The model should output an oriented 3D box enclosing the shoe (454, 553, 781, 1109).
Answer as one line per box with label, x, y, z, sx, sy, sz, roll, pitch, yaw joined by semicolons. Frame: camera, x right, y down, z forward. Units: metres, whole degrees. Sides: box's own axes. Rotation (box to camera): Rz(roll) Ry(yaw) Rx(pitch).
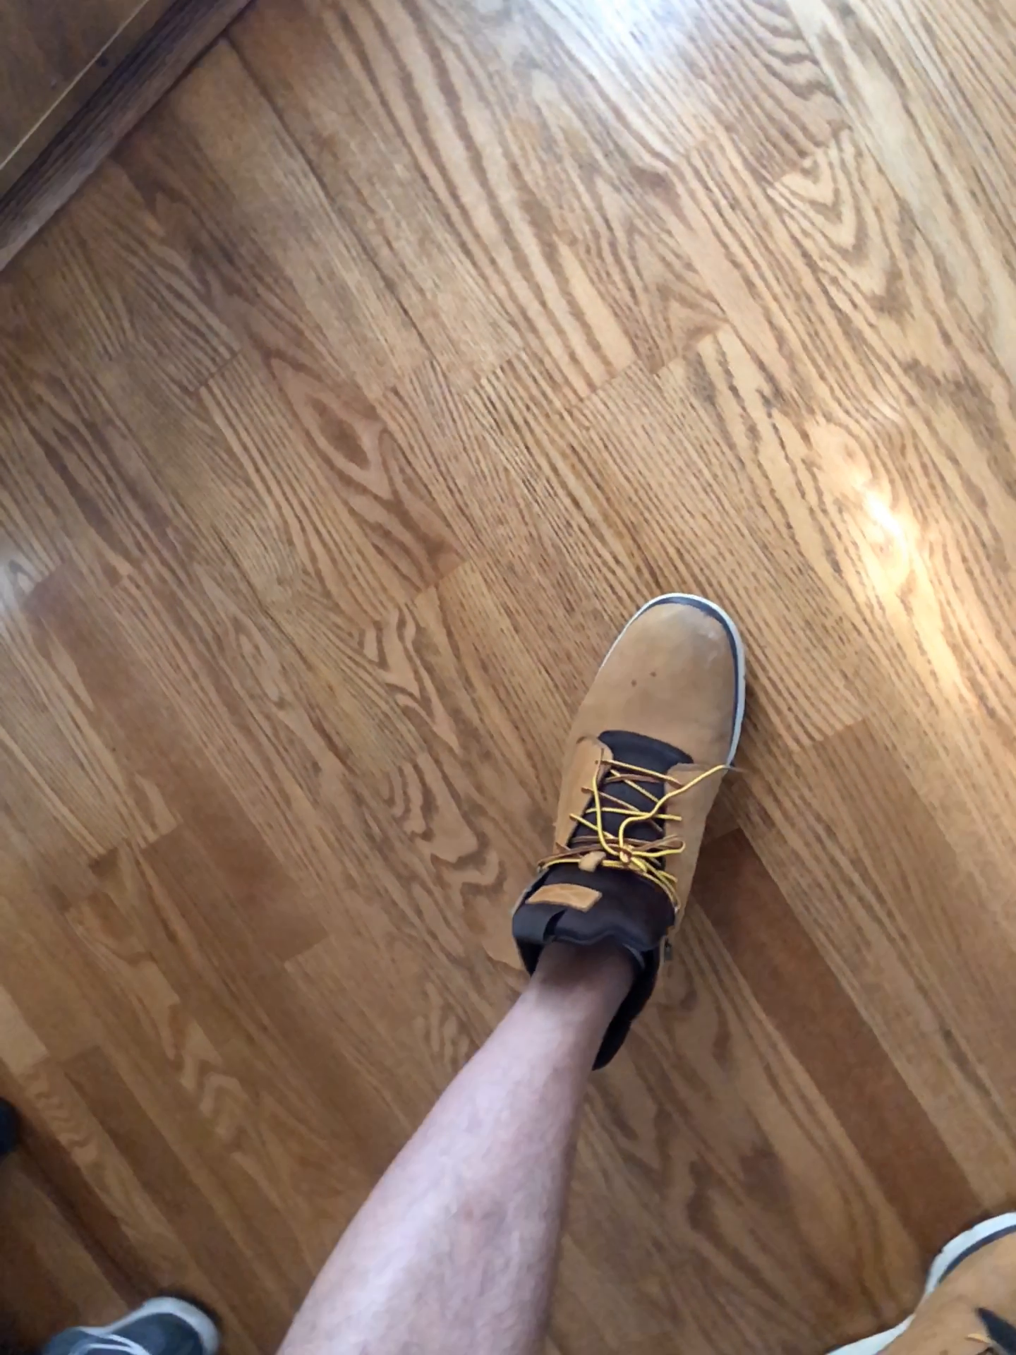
shoe;0.077;0.087;0.727;0.120;0.150;0.310;15;98;14
